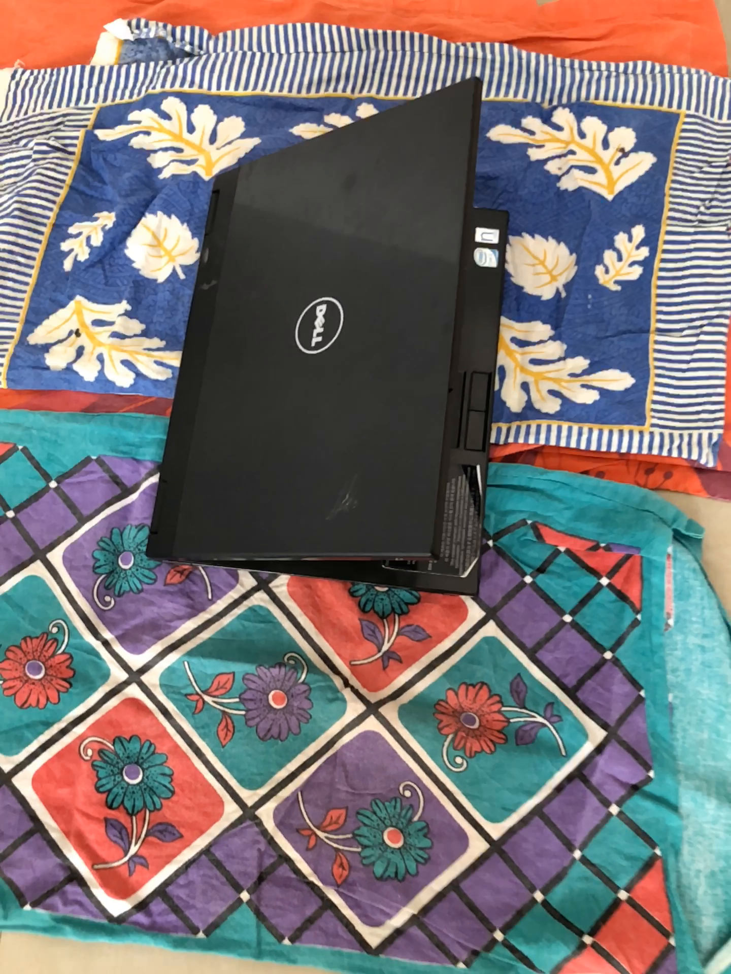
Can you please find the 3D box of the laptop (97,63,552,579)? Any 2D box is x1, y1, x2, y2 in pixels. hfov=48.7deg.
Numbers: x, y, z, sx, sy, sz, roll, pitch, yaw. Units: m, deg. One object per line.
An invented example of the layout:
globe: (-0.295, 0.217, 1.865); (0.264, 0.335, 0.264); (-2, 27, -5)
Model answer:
laptop: (-0.015, -0.105, 0.546); (0.234, 0.144, 0.299); (5, 76, 4)
